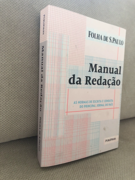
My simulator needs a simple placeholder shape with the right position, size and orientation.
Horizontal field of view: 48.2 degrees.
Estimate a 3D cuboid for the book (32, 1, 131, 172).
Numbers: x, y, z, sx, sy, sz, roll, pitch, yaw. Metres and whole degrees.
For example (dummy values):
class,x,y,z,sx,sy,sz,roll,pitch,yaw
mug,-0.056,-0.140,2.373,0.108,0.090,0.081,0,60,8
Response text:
class,x,y,z,sx,sy,sz,roll,pitch,yaw
book,0.028,-0.004,0.257,0.166,0.229,0.040,-1,4,-28
